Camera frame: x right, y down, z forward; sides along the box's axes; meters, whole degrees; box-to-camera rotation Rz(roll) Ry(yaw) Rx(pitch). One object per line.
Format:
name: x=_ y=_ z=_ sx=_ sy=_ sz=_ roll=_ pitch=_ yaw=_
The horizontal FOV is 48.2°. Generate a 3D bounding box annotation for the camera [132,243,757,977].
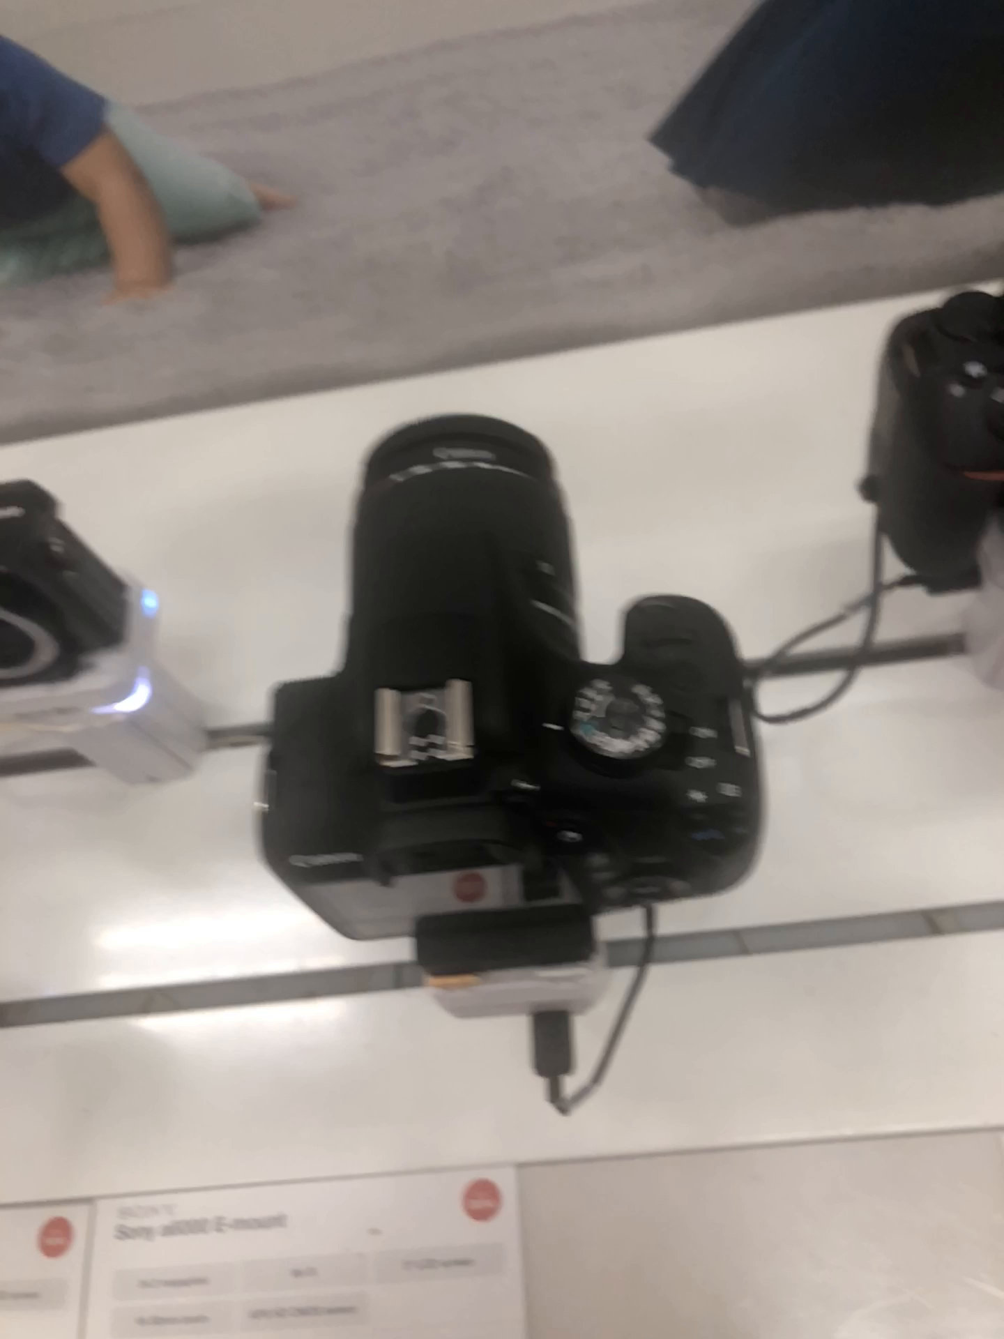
camera: x=-0.014 y=-0.013 z=0.322 sx=0.140 sy=0.090 sz=0.170 roll=-8 pitch=65 yaw=7
